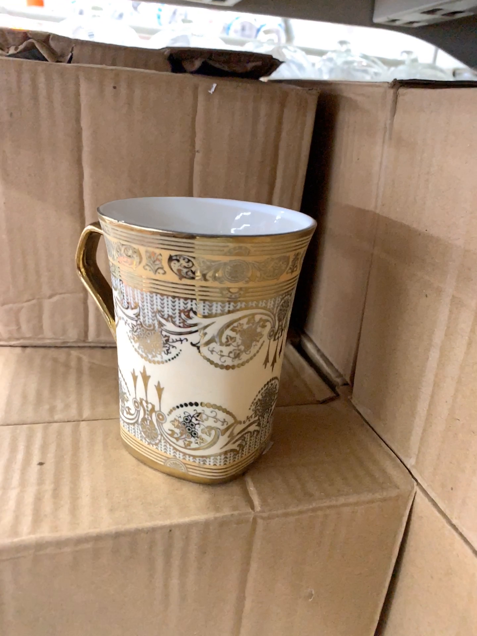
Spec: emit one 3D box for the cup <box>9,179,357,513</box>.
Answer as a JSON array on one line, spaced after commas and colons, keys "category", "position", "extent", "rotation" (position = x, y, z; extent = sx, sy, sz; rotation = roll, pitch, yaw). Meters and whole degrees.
[{"category": "cup", "position": [-0.021, -0.002, 0.210], "extent": [0.105, 0.092, 0.084], "rotation": [16, 25, 29]}]
